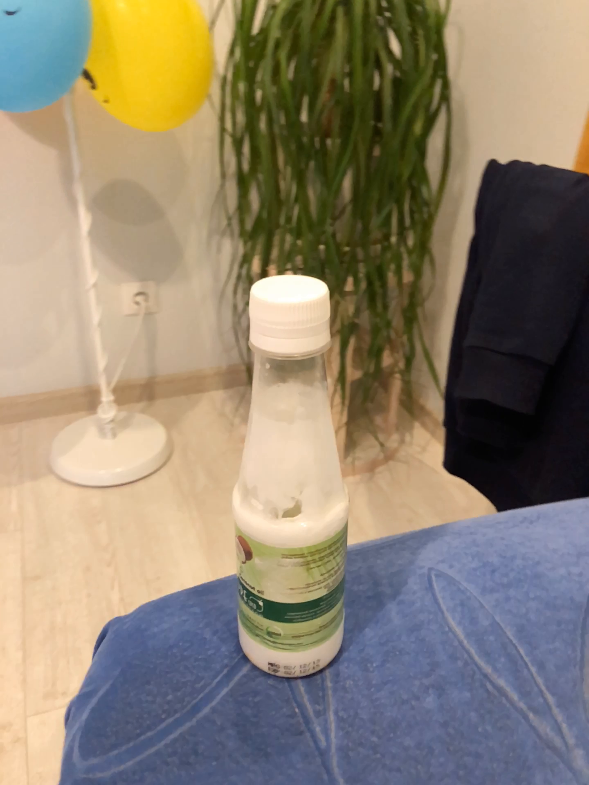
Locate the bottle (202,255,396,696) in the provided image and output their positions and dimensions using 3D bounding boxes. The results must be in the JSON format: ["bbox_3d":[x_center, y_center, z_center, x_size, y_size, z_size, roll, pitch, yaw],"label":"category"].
[{"bbox_3d":[-0.001,0.040,0.281,0.054,0.183,0.050,1,28,0],"label":"bottle"}]
